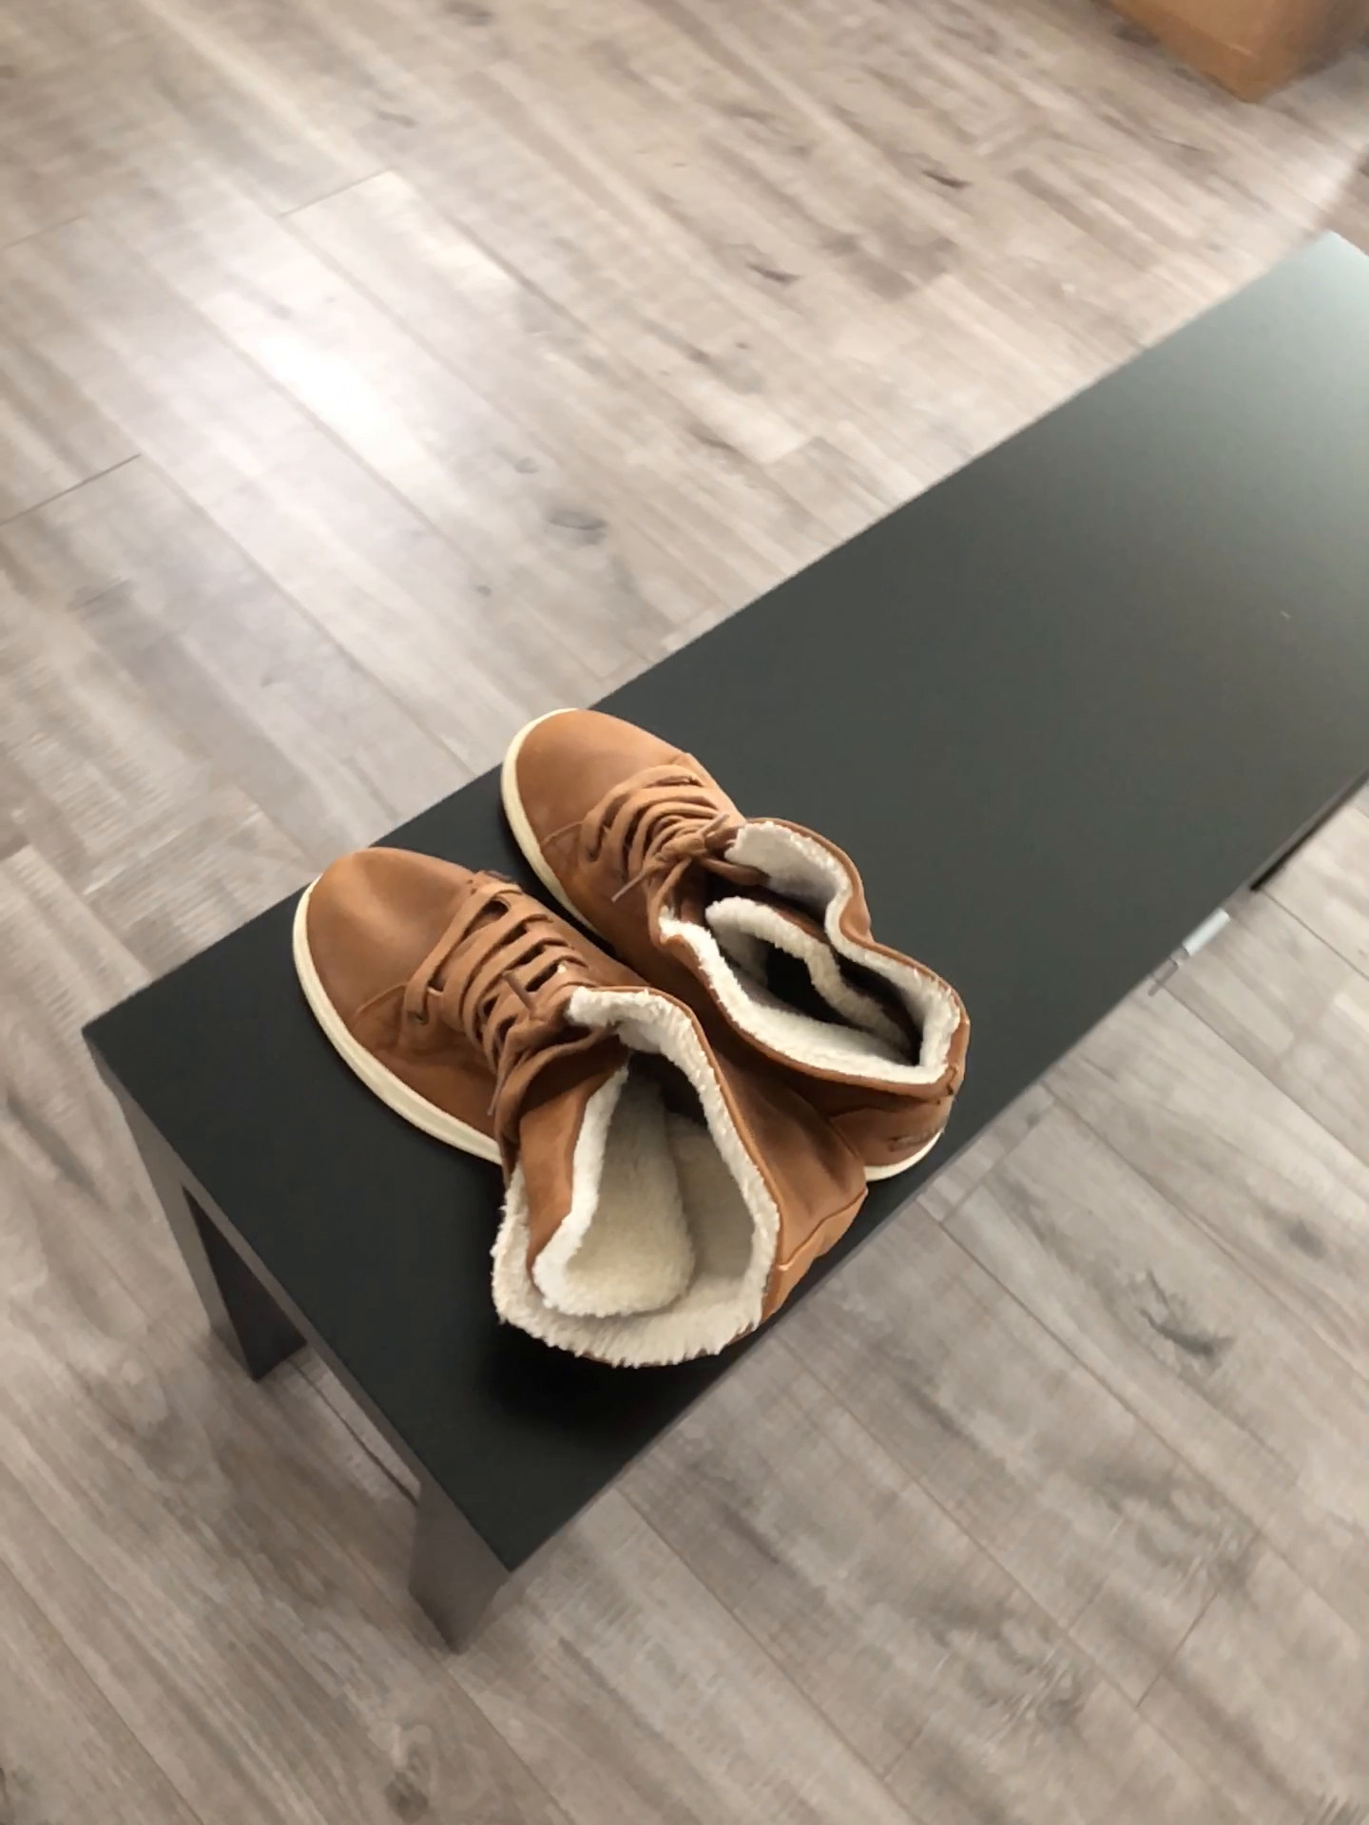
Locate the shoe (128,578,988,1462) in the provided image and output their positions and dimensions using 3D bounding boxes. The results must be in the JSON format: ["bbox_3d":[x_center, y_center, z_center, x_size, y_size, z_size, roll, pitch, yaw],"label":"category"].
[{"bbox_3d":[-0.051,0.038,0.513,0.260,0.140,0.110,43,62,14],"label":"shoe"}]

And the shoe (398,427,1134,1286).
[{"bbox_3d":[0.010,-0.020,0.555,0.110,0.150,0.260,-29,70,-24],"label":"shoe"}]
